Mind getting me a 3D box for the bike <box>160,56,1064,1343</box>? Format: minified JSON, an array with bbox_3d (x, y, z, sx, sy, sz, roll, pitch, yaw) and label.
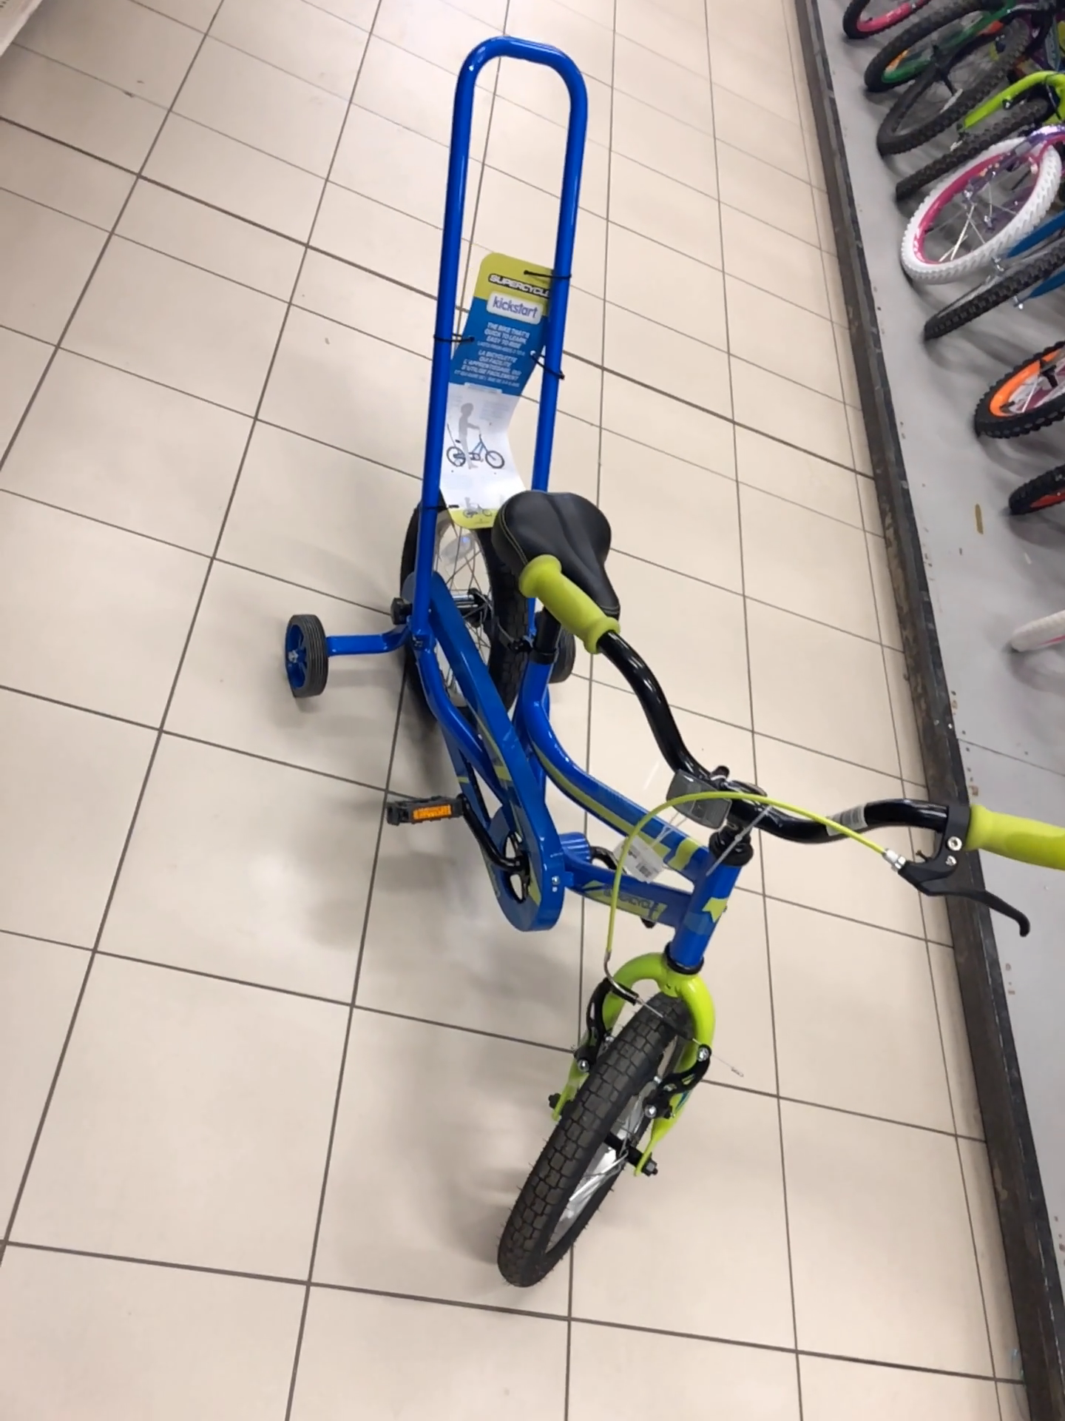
[{"bbox_3d":[-0.013,0.002,1.197,0.539,0.763,0.955,7,54,-25],"label":"bike"}]
